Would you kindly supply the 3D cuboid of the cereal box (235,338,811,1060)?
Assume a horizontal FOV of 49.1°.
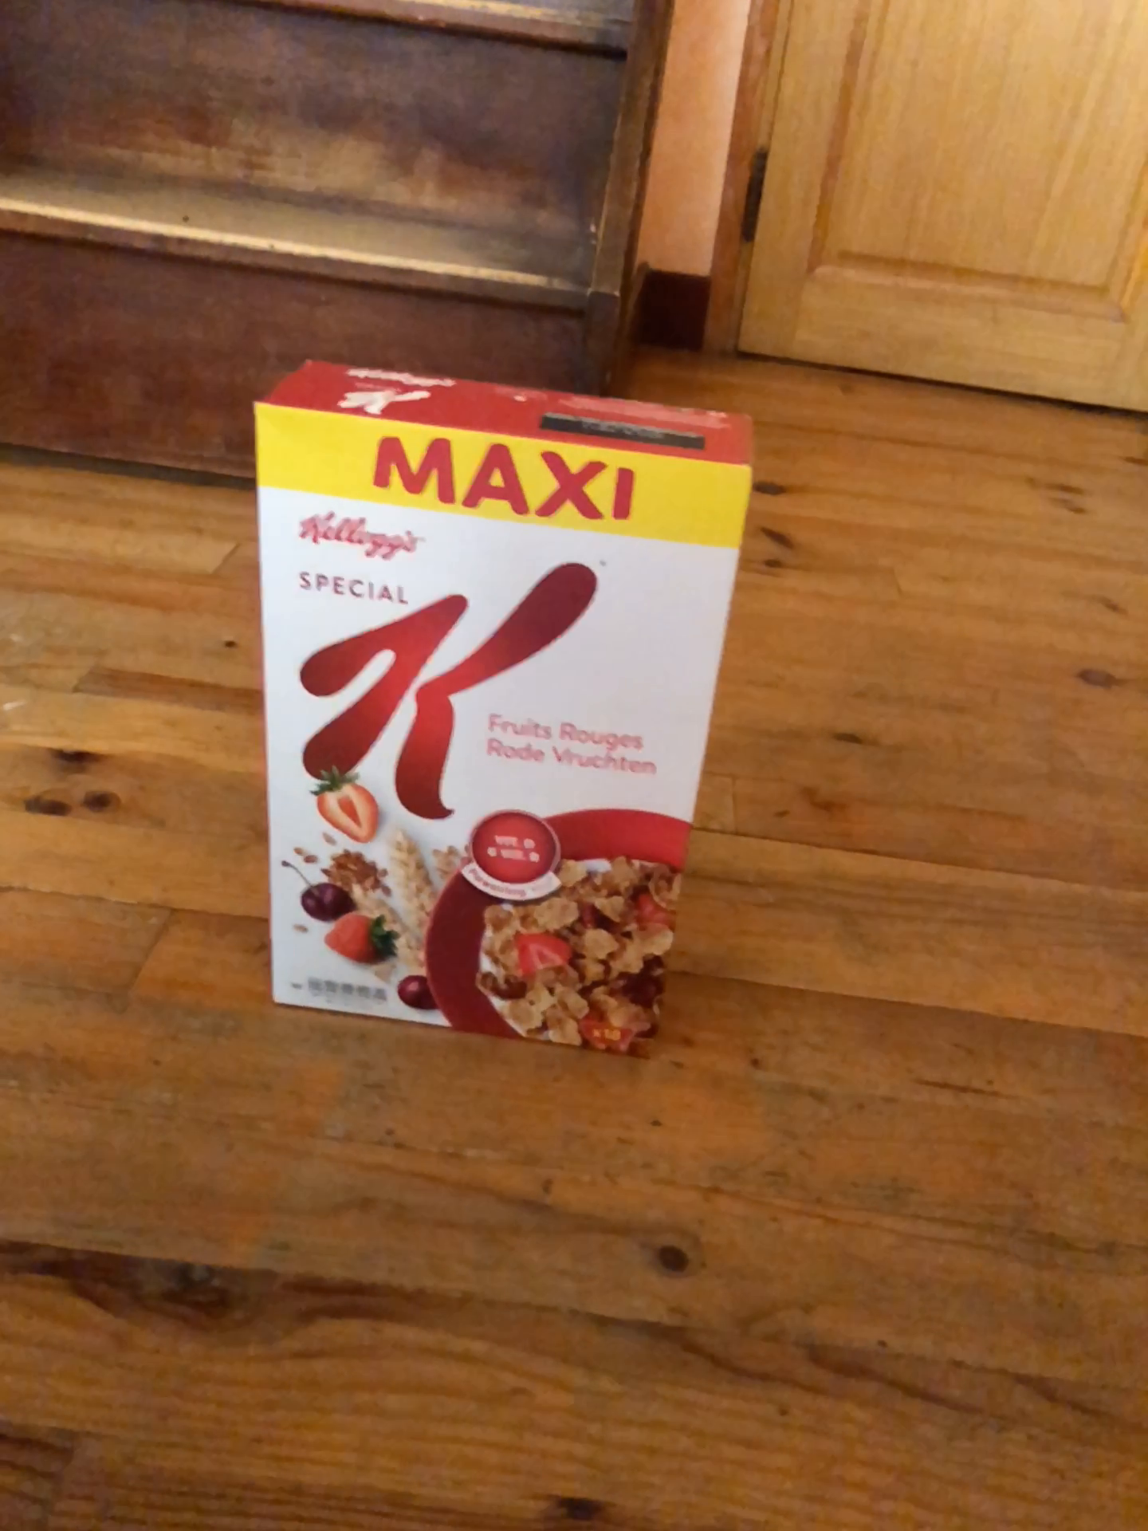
[{"bbox_3d":[-0.030,-0.021,0.565,0.210,0.288,0.091,8,31,2],"label":"cereal box"}]
